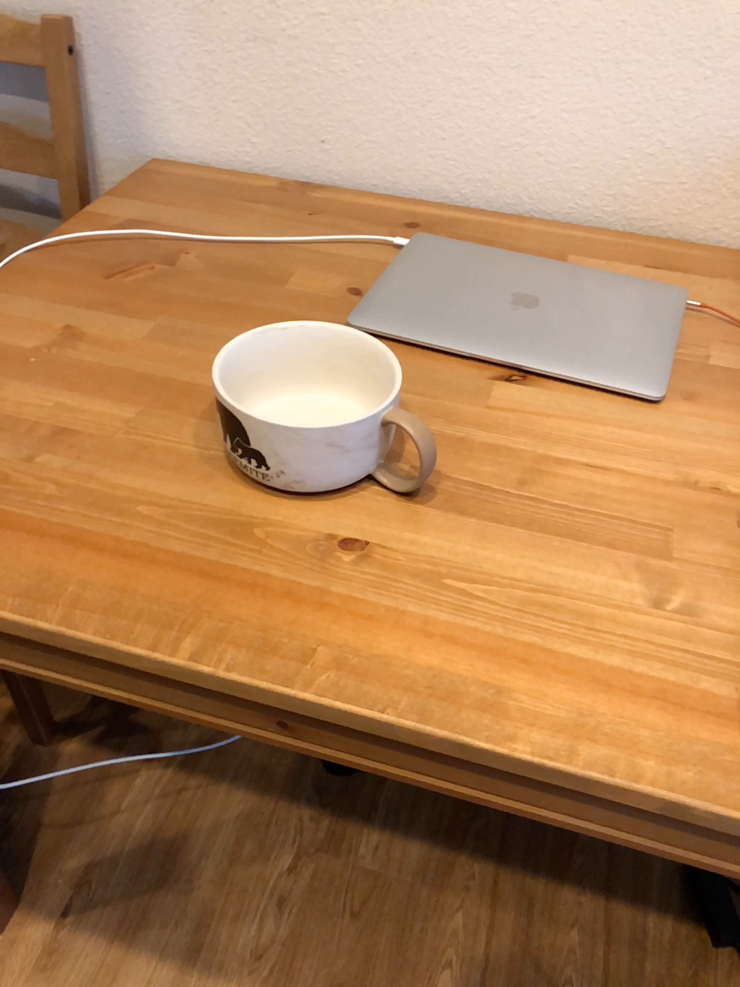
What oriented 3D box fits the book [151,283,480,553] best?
[{"bbox_3d":[-0.040,-0.064,0.598,0.190,0.080,0.130,28,47,26],"label":"book"}]
